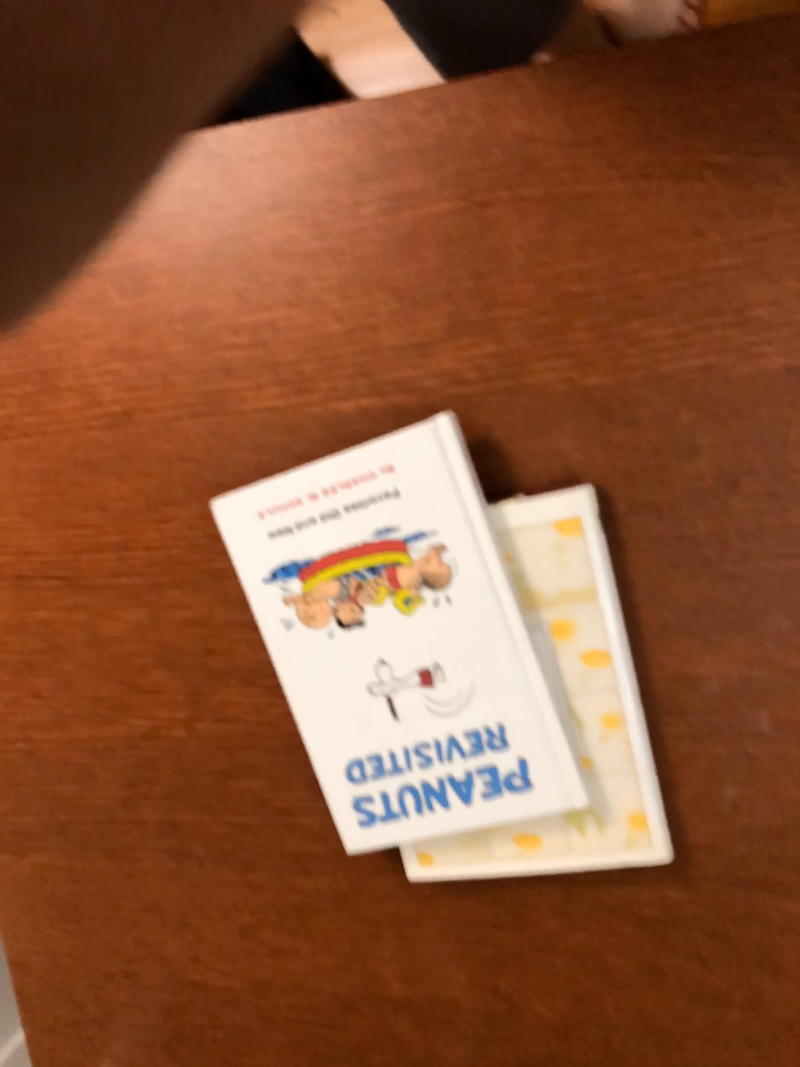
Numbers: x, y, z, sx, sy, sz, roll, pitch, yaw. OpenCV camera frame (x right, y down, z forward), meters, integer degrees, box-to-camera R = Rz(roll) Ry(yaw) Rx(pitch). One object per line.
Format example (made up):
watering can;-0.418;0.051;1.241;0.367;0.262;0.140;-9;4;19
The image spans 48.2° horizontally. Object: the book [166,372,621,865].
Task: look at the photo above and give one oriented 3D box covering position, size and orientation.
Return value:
book;-0.005;0.050;0.443;0.160;0.020;0.210;-20;96;20
